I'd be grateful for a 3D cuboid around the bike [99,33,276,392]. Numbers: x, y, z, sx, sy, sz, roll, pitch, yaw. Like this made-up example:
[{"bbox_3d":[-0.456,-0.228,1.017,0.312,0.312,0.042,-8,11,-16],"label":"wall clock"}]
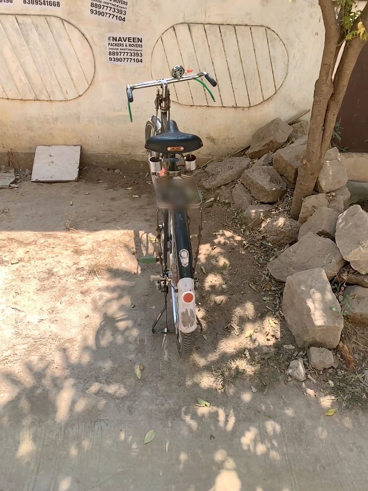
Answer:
[{"bbox_3d":[-0.147,-0.352,1.912,0.465,0.994,1.661,-4,37,-10],"label":"bike"}]
